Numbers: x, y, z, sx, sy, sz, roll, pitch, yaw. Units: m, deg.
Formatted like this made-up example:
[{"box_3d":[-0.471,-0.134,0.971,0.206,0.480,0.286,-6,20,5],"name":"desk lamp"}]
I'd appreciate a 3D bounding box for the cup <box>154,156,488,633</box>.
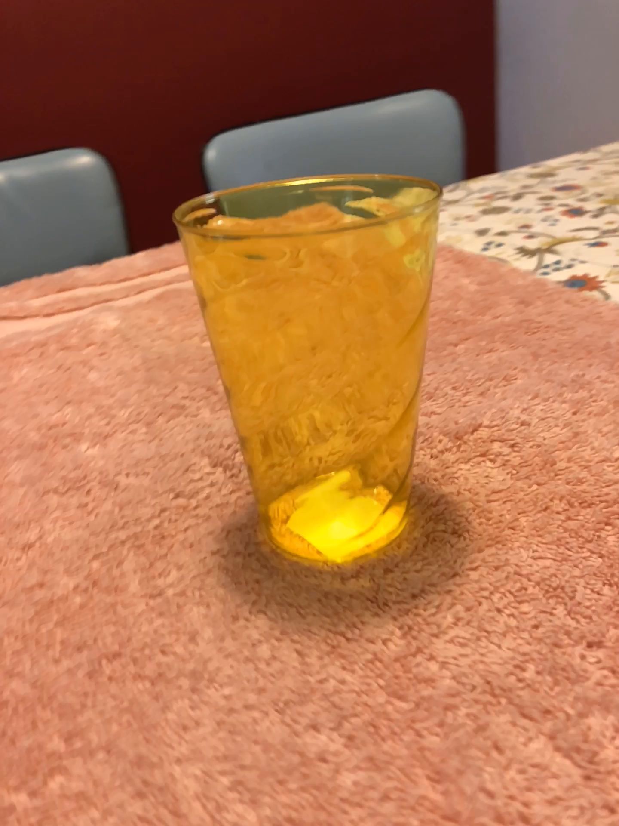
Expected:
[{"box_3d":[0.003,-0.010,0.227,0.080,0.119,0.081,-7,28,4],"name":"cup"}]
